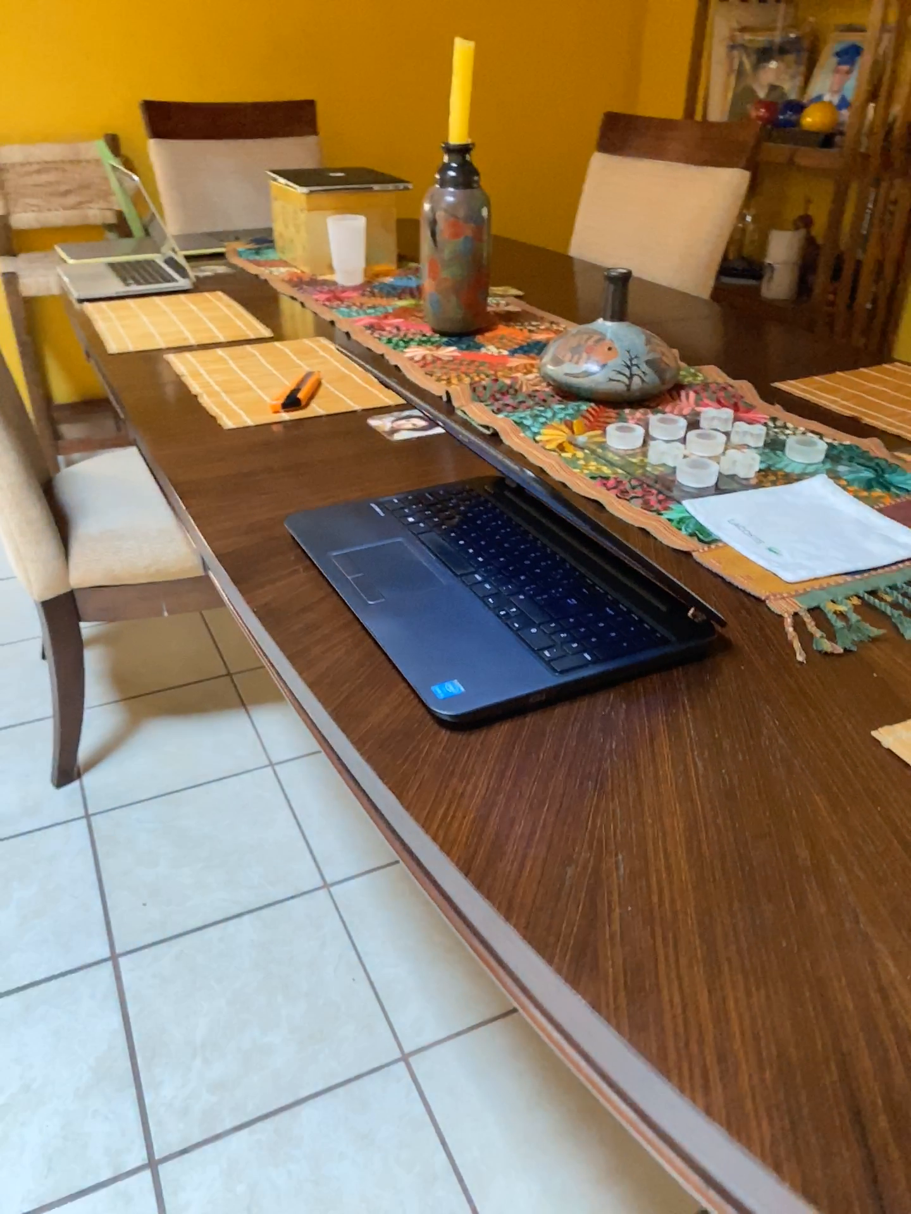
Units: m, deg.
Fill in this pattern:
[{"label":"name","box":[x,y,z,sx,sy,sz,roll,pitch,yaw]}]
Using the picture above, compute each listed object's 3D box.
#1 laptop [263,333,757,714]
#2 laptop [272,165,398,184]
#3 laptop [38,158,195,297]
[{"label":"laptop","box":[0.019,-0.100,0.789,0.248,0.158,0.357,-14,33,-23]},{"label":"laptop","box":[-0.266,-0.940,2.013,0.201,0.001,0.293,-11,34,-22]},{"label":"laptop","box":[-0.711,-0.803,1.937,0.221,0.207,0.373,-15,33,-24]}]
